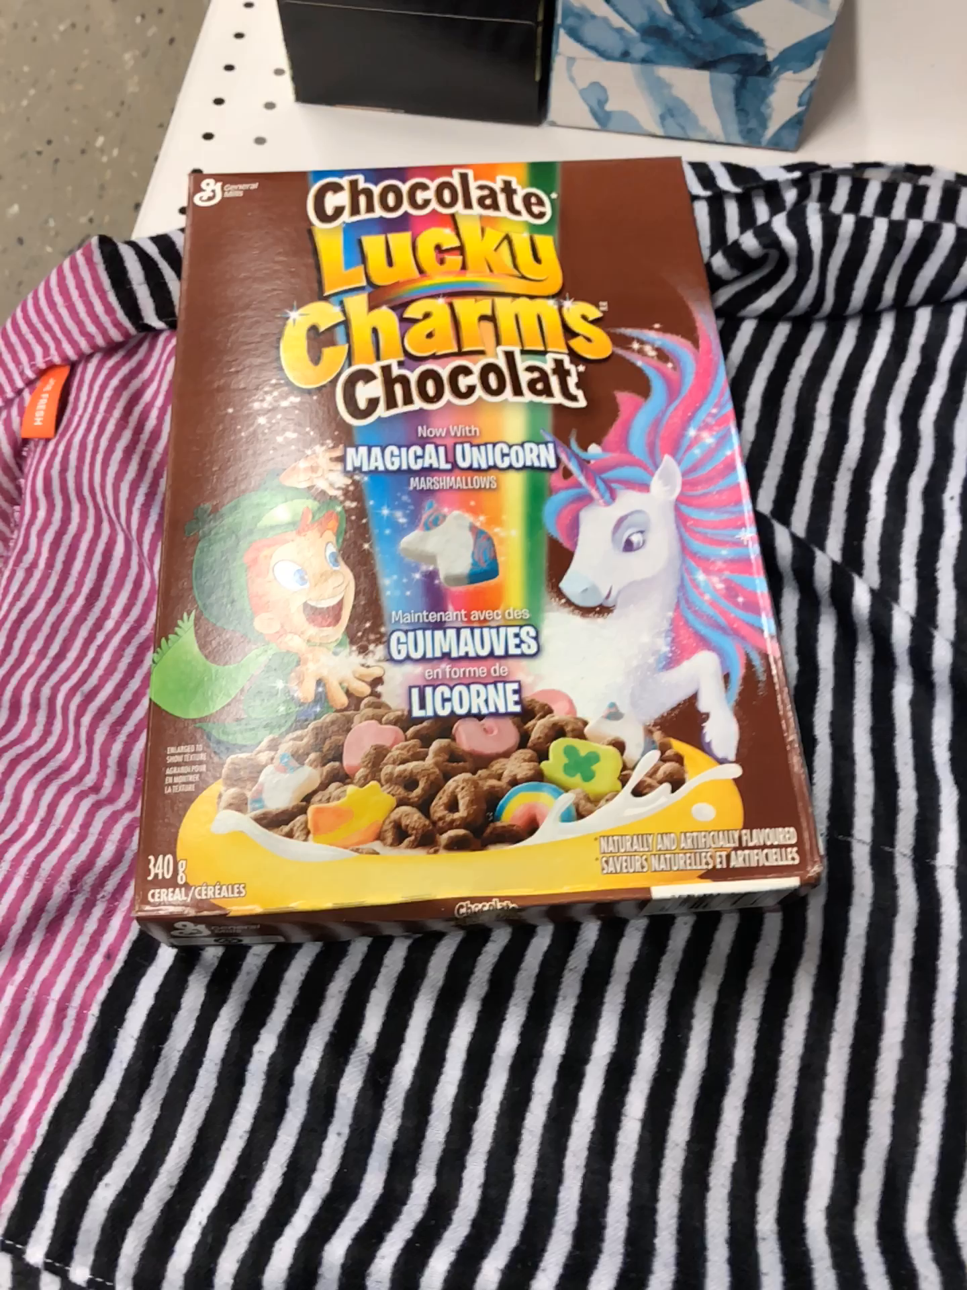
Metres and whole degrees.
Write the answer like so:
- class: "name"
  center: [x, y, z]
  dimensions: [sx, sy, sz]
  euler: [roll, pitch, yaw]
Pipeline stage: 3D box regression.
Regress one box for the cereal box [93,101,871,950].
- class: "cereal box"
  center: [-0.009, -0.054, 0.374]
  dimensions: [0.210, 0.060, 0.290]
  euler: [-3, 67, -2]
